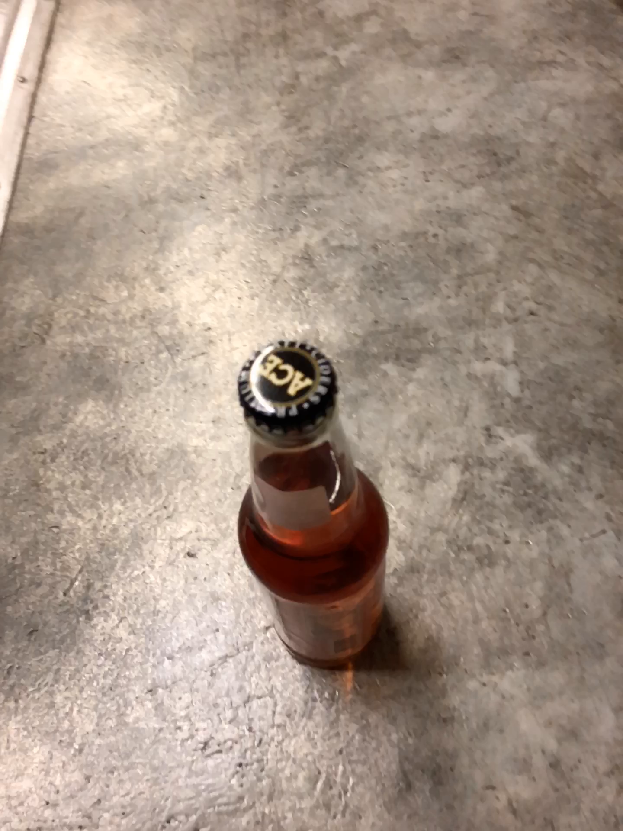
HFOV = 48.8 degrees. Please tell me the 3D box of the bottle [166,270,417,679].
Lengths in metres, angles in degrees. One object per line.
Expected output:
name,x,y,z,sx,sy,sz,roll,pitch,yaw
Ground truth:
bottle,0.000,0.047,0.275,0.060,0.222,0.061,-2,58,4
